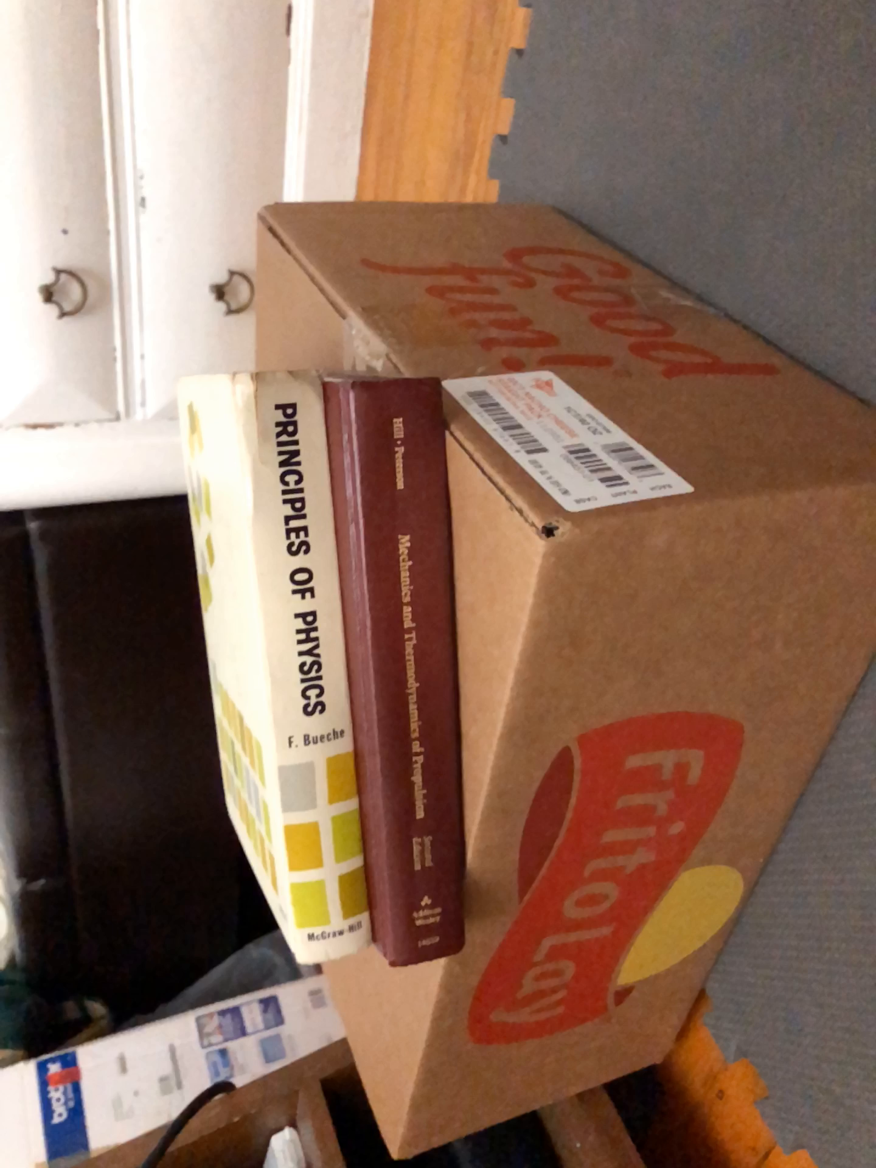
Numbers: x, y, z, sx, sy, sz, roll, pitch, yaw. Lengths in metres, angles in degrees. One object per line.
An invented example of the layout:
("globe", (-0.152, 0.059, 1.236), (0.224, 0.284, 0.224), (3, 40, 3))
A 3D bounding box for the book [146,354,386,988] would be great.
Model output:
("book", (-0.087, 0.025, 0.457), (0.181, 0.040, 0.250), (-156, 59, -64))

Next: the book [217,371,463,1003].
("book", (-0.051, 0.031, 0.459), (0.181, 0.040, 0.250), (-151, 54, -62))
